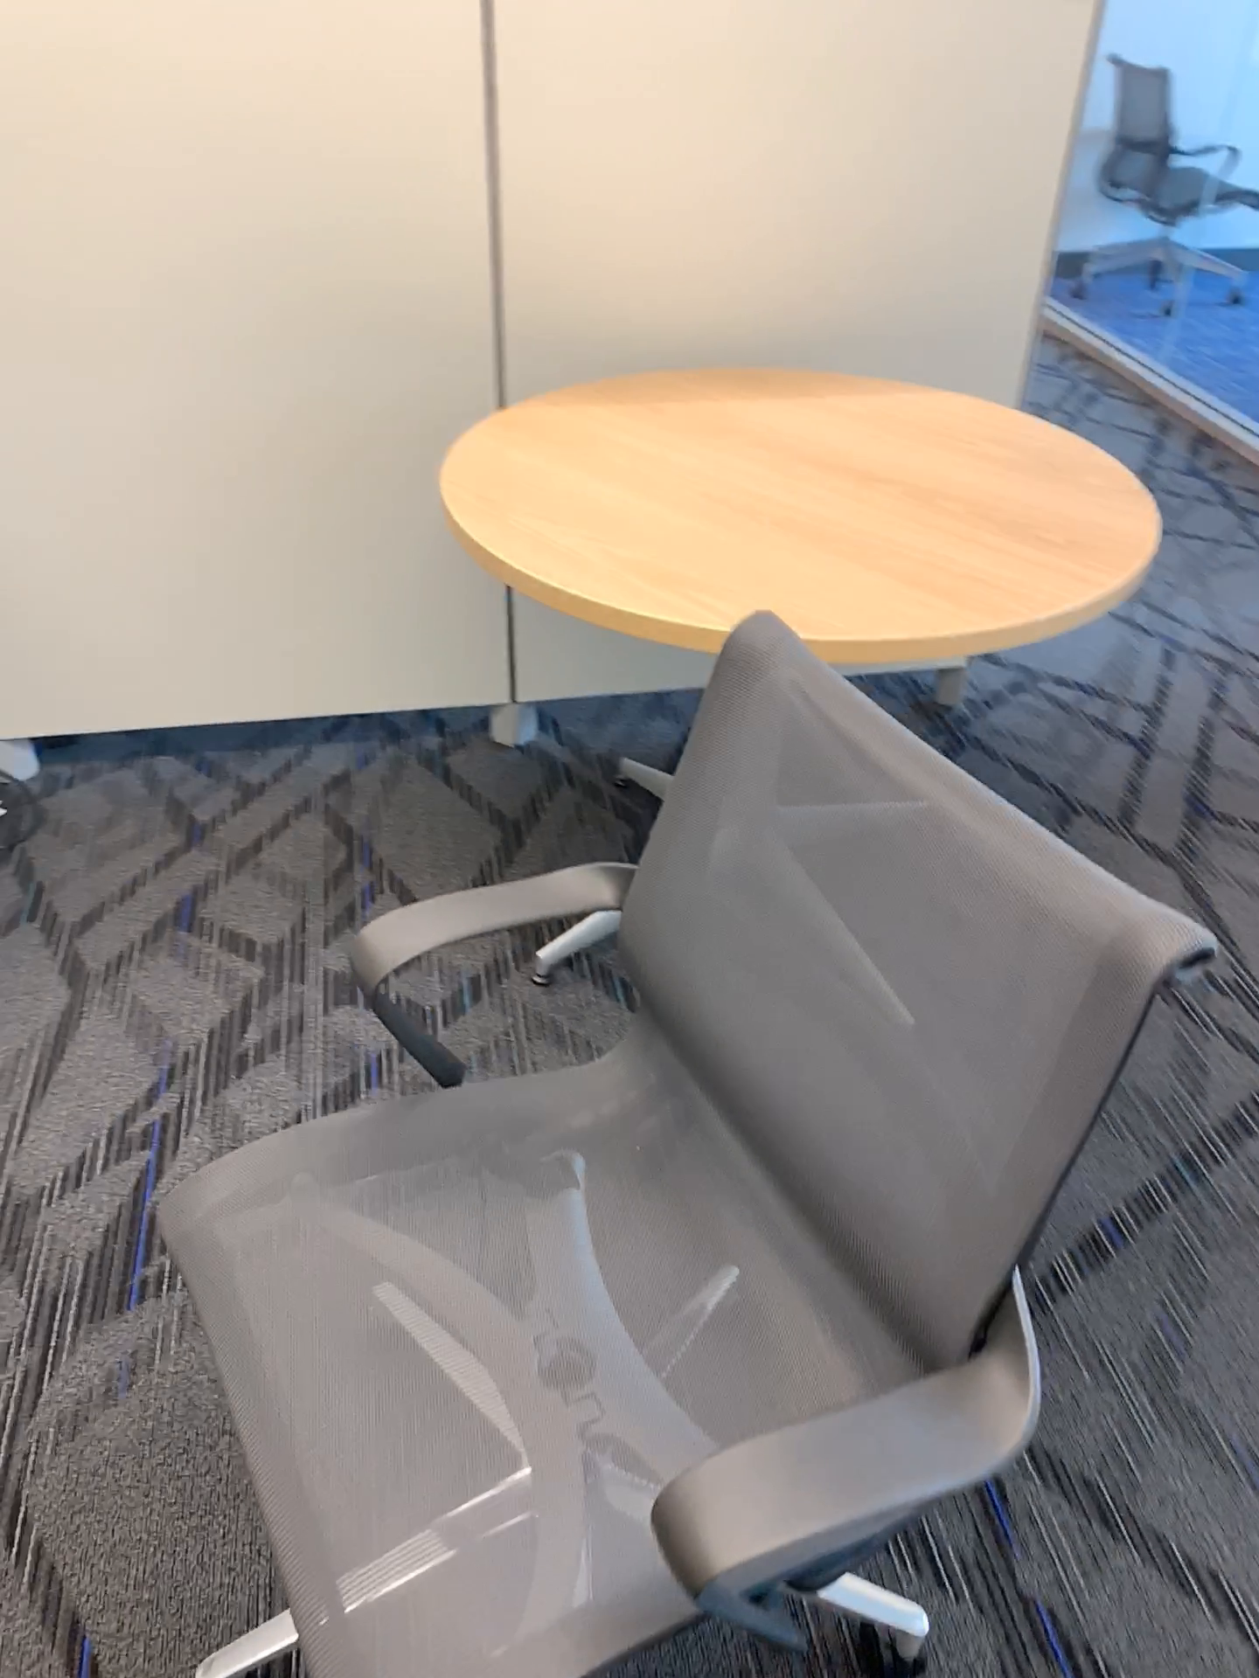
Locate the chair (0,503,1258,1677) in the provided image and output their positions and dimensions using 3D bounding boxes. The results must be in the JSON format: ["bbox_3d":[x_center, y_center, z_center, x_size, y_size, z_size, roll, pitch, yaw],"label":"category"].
[{"bbox_3d":[-0.108,0.300,0.920,0.702,0.753,0.685,-18,40,-24],"label":"chair"}]
